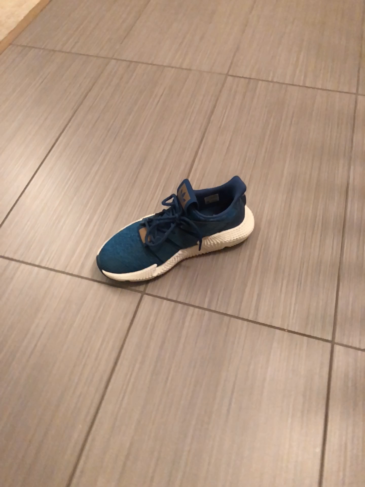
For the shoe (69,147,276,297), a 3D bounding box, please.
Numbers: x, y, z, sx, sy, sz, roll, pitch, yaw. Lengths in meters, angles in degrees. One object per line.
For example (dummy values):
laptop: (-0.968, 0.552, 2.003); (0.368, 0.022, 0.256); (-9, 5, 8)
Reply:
shoe: (-0.014, -0.036, 0.649); (0.290, 0.120, 0.112); (-18, 57, -10)
